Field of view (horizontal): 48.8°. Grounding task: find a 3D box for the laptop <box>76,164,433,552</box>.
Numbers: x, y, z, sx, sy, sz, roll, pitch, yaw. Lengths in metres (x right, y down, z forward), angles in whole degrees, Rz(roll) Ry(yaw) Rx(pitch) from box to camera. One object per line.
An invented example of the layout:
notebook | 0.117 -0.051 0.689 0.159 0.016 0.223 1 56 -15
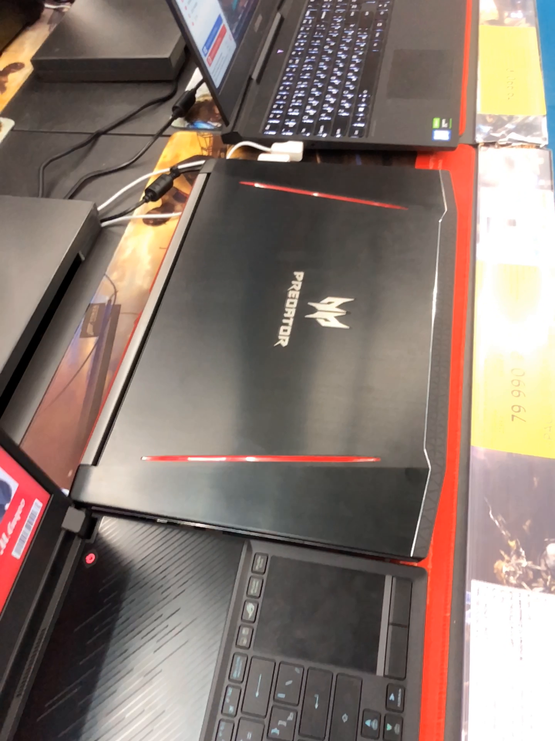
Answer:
laptop | 0.006 -0.050 0.513 0.228 0.004 0.379 6 55 10
